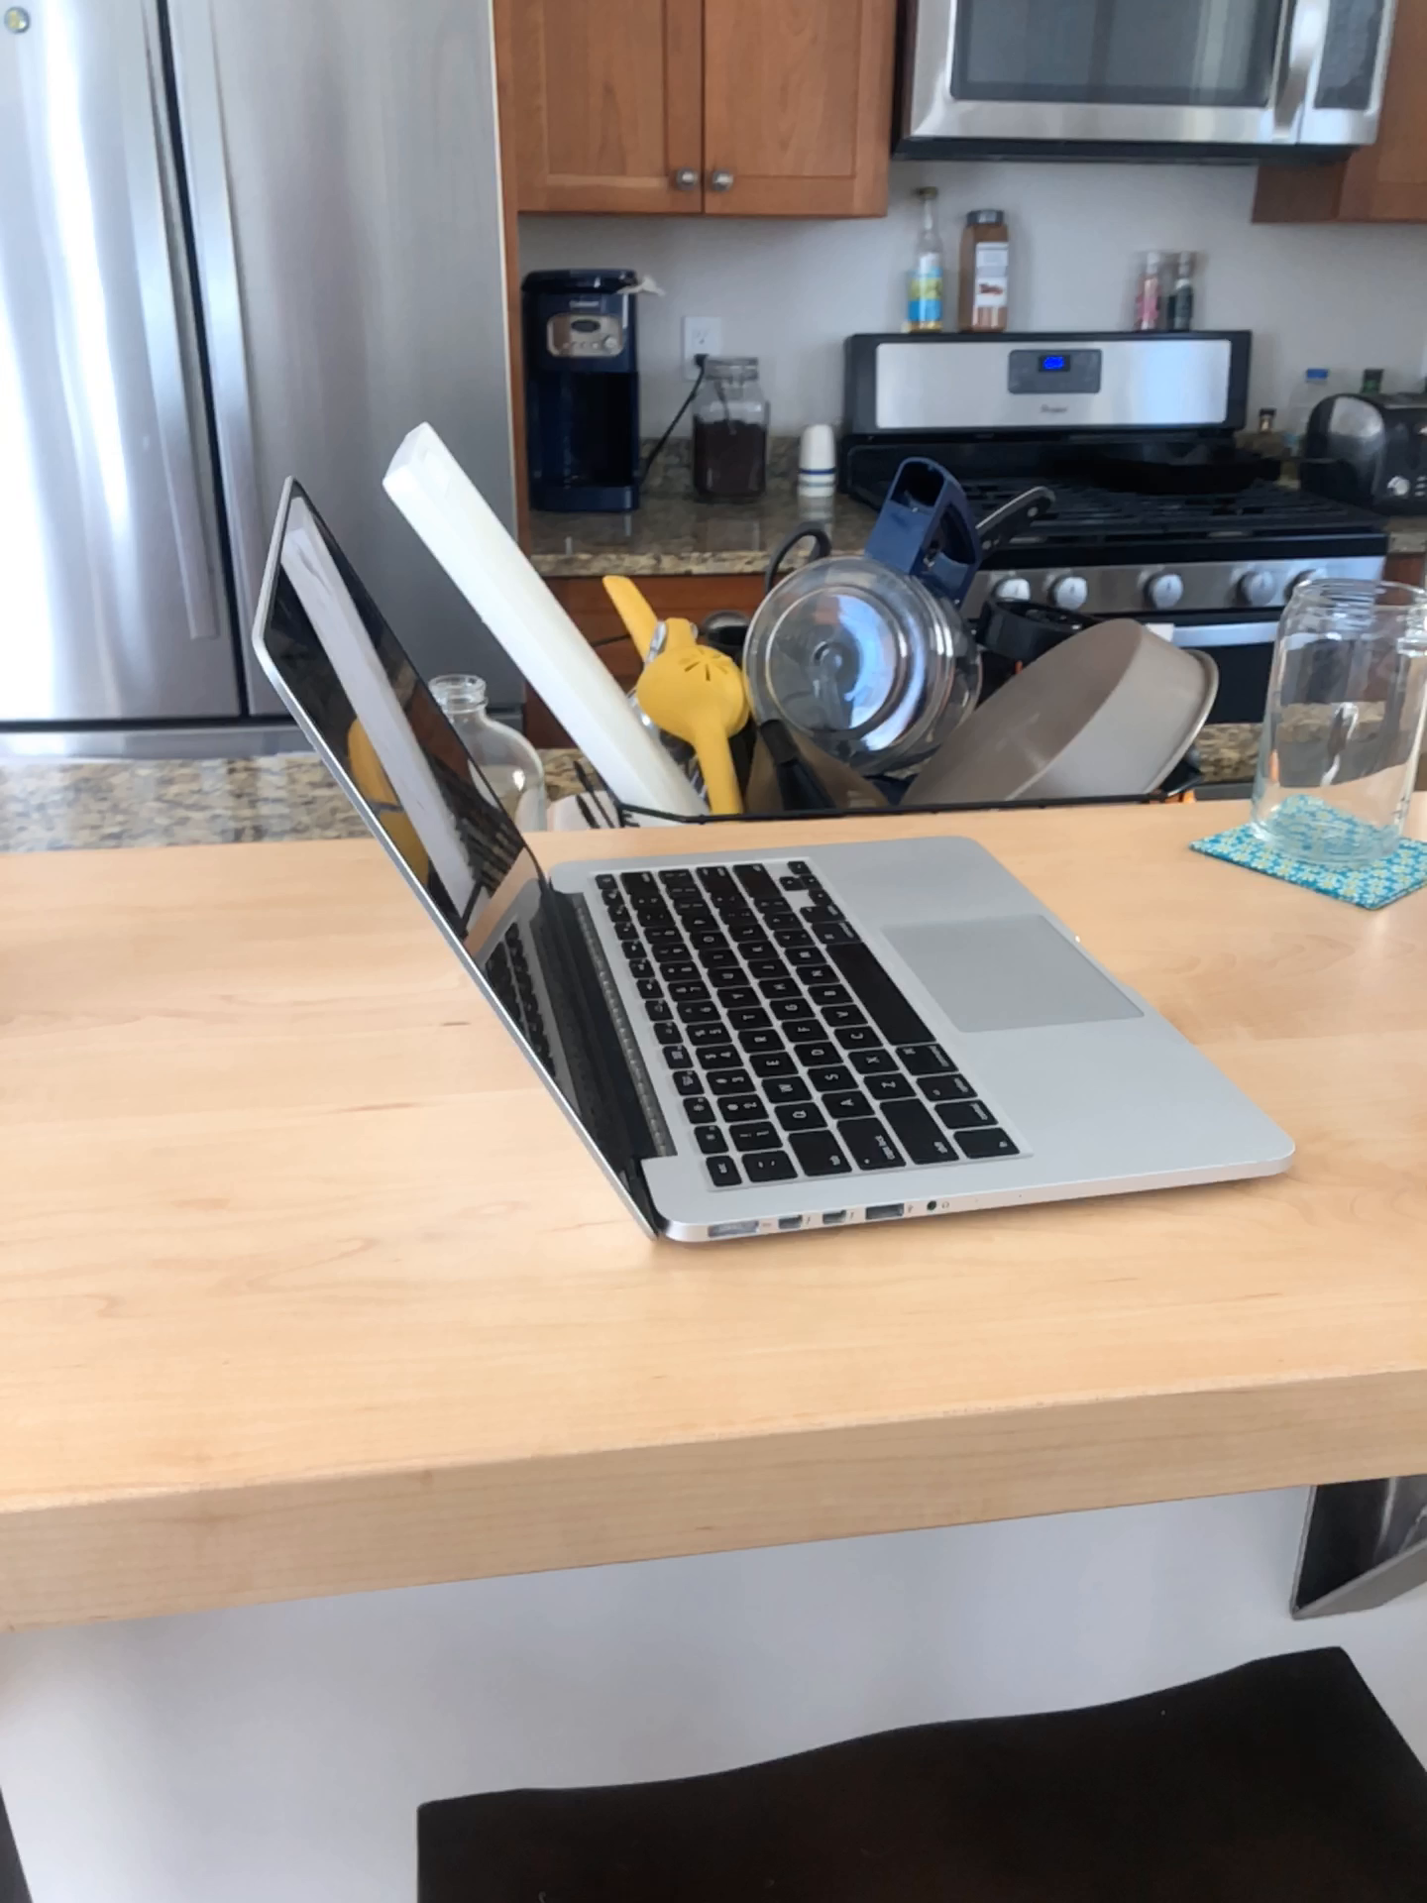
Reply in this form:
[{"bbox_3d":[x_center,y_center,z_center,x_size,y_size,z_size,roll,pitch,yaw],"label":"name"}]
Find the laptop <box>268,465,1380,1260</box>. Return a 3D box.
[{"bbox_3d":[0.007,-0.069,0.623,0.323,0.188,0.324,-5,25,-11],"label":"laptop"}]
